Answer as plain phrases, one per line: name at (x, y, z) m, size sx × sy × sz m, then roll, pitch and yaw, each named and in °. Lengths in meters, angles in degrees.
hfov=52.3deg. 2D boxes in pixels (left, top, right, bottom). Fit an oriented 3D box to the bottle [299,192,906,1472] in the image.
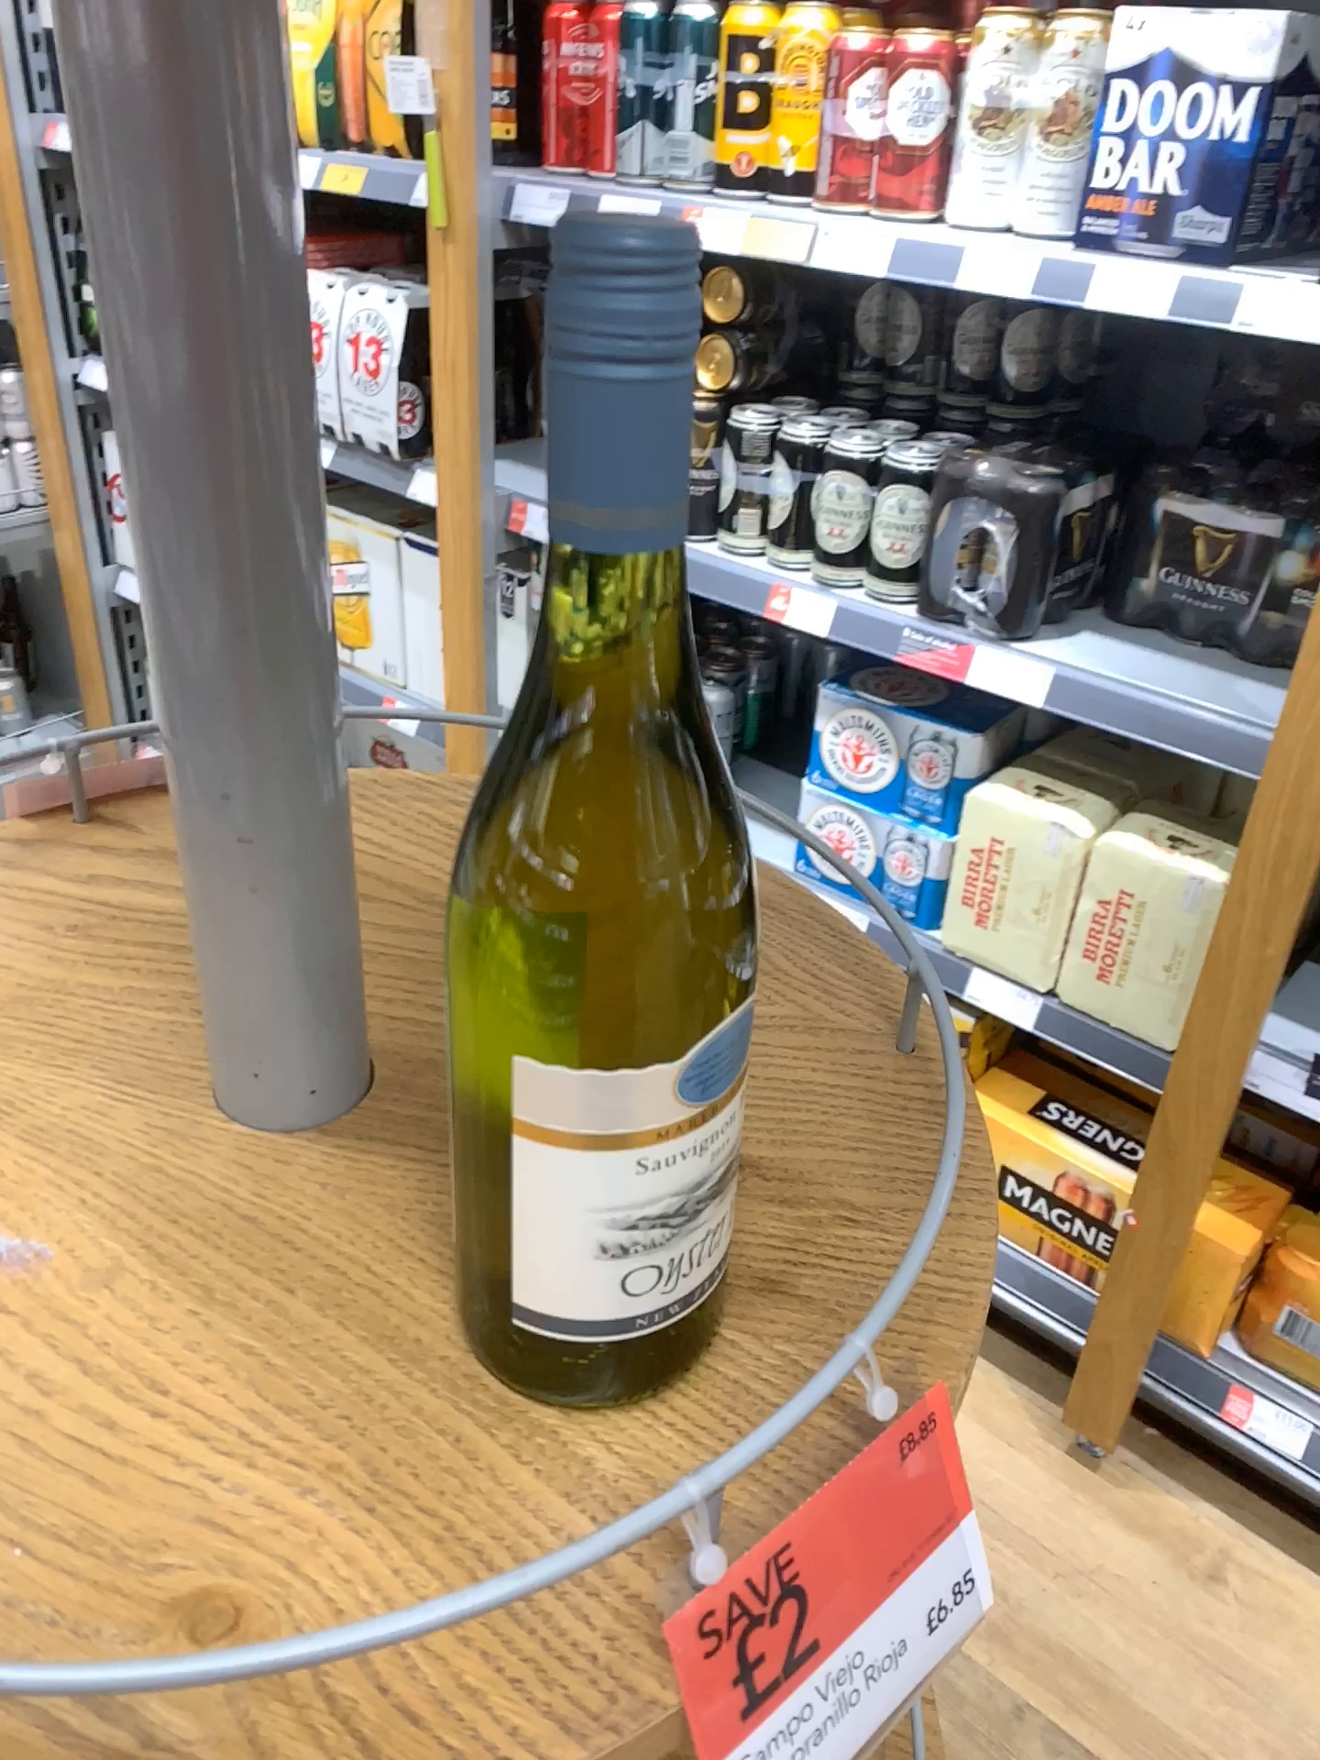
bottle at (-0.017, 0.000, 0.321) m, size 0.080 × 0.284 × 0.081 m, roll 3°, pitch 30°, yaw -2°
